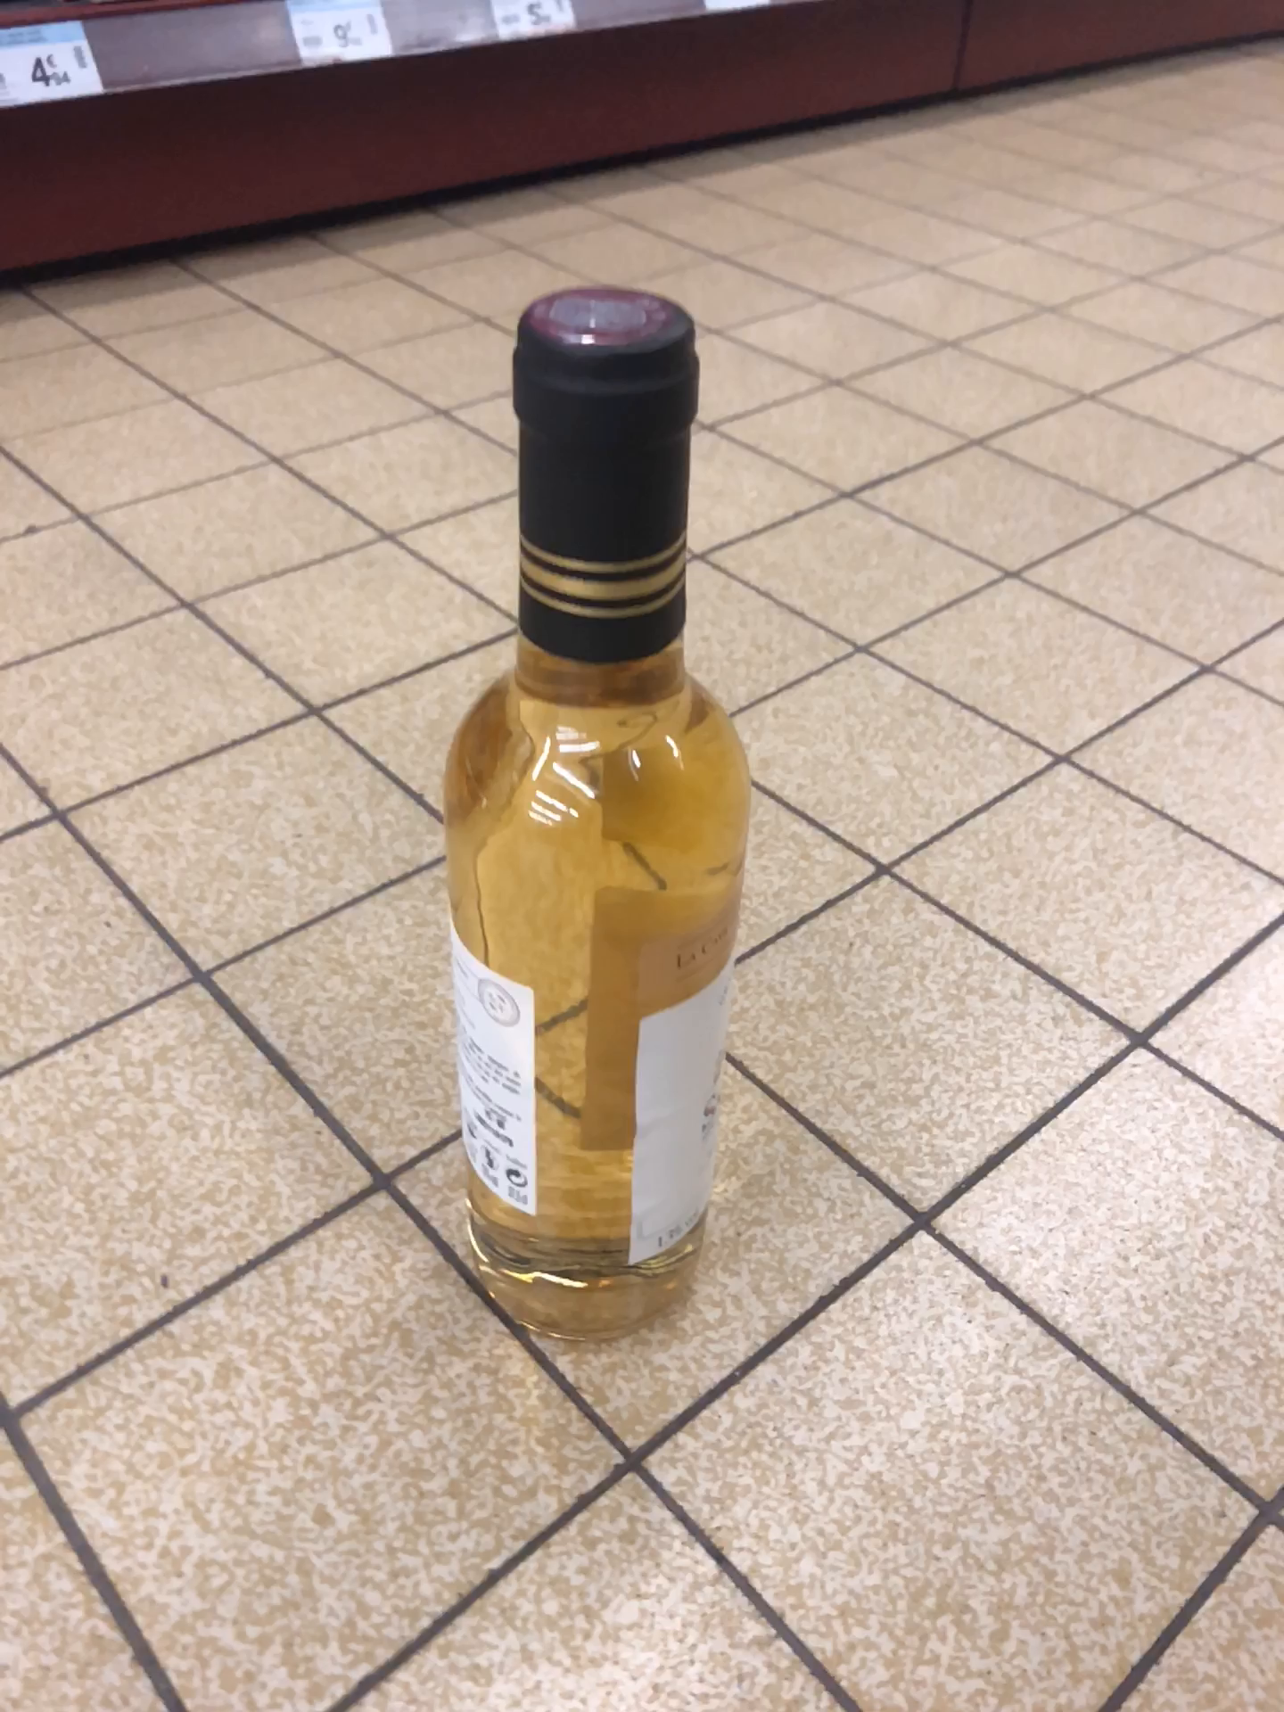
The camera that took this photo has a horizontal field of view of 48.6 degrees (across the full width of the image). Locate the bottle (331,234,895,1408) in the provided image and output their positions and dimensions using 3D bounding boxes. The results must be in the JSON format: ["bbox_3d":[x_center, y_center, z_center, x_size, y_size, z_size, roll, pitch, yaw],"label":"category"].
[{"bbox_3d":[-0.012,0.009,0.292,0.070,0.238,0.070,2,39,-1],"label":"bottle"}]
